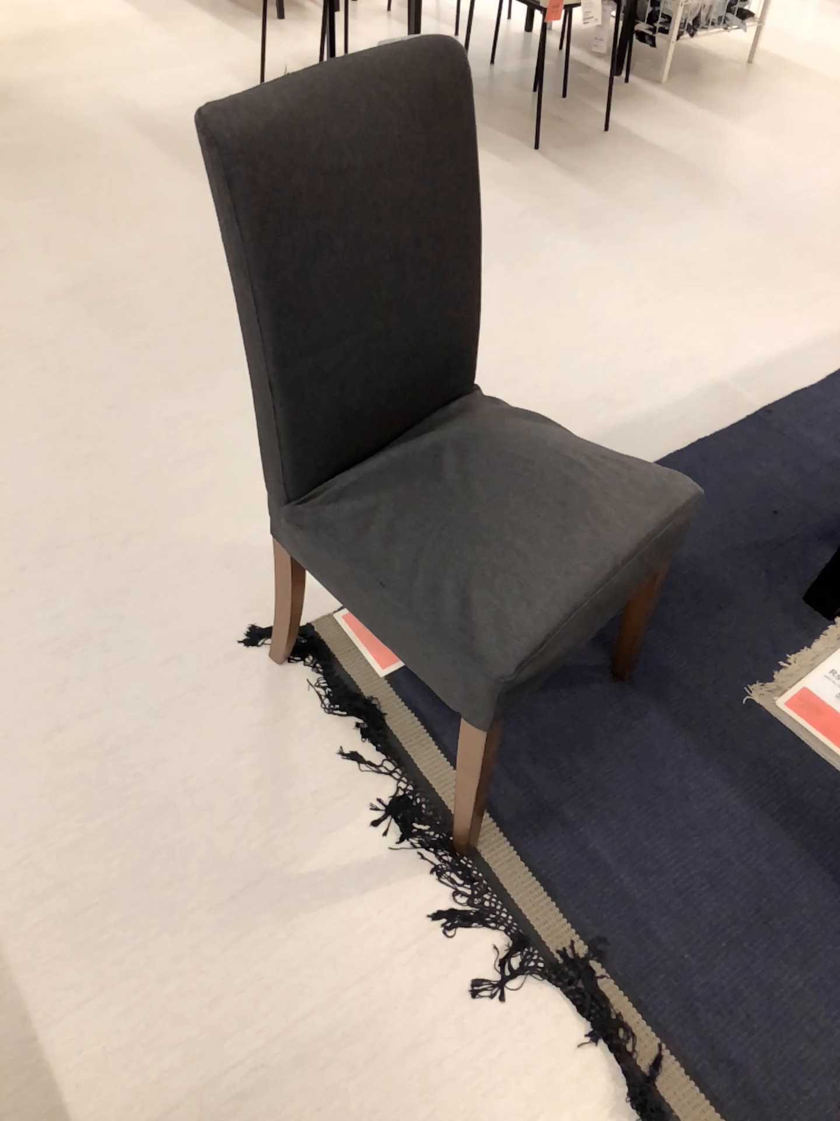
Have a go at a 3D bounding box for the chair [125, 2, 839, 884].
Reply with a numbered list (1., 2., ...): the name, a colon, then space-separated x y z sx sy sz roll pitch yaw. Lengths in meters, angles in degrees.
1. chair: 0.060 -0.130 1.303 0.551 0.964 0.542 35 53 26
